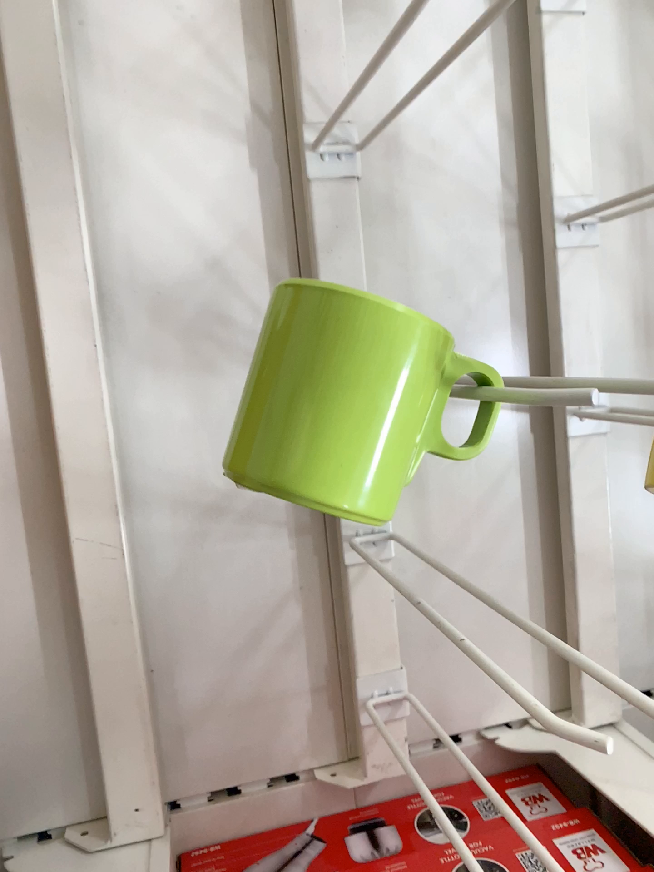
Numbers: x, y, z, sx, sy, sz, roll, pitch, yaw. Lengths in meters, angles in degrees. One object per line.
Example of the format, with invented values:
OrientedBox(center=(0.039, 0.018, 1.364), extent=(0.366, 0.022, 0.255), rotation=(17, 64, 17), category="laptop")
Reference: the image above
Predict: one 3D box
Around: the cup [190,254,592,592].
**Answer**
OrientedBox(center=(0.017, -0.005, 0.272), extent=(0.080, 0.110, 0.100), rotation=(-70, -161, 0), category="cup")
